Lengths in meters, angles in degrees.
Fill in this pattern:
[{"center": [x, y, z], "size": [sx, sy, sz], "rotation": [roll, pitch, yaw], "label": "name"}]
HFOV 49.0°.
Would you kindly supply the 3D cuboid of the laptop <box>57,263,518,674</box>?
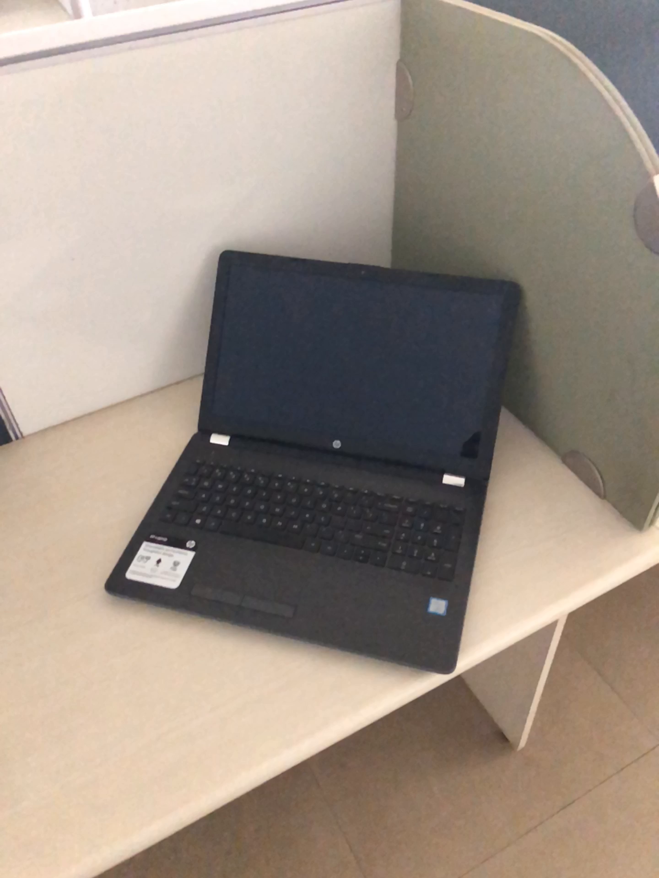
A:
[{"center": [-0.010, -0.002, 0.799], "size": [0.365, 0.168, 0.395], "rotation": [9, 45, 14], "label": "laptop"}]
